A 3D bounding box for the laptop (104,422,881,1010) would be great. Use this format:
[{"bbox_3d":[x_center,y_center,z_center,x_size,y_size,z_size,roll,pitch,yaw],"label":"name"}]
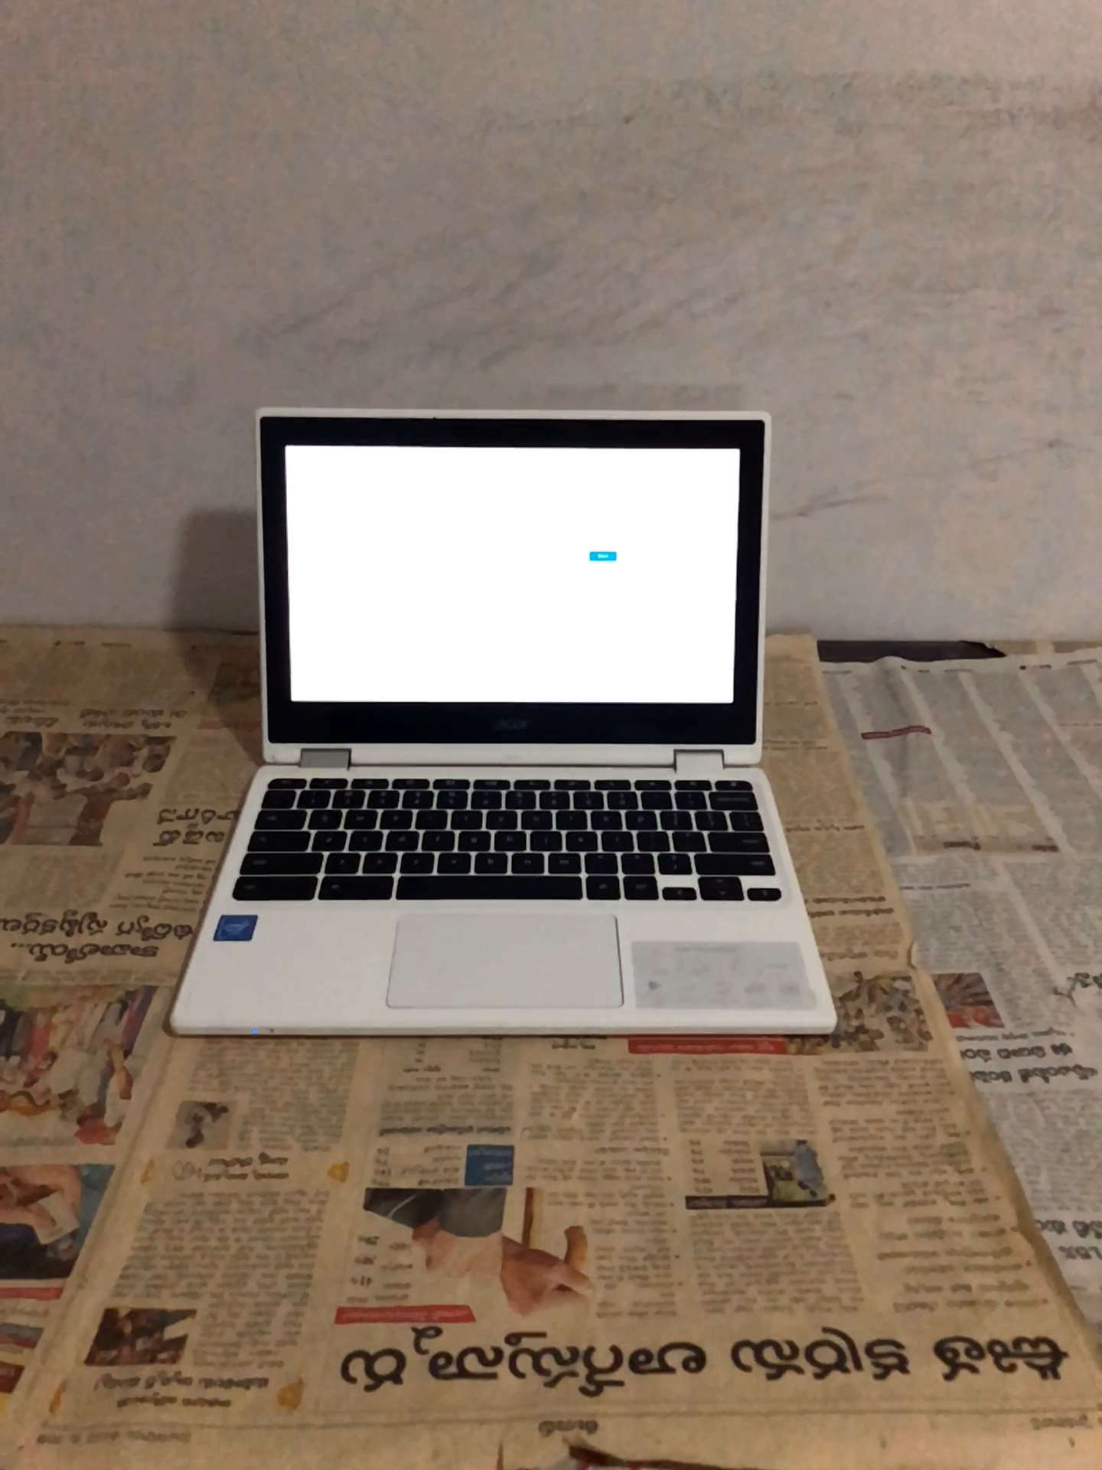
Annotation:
[{"bbox_3d":[-0.022,-0.028,0.581,0.268,0.167,0.279,0,31,-1],"label":"laptop"}]
